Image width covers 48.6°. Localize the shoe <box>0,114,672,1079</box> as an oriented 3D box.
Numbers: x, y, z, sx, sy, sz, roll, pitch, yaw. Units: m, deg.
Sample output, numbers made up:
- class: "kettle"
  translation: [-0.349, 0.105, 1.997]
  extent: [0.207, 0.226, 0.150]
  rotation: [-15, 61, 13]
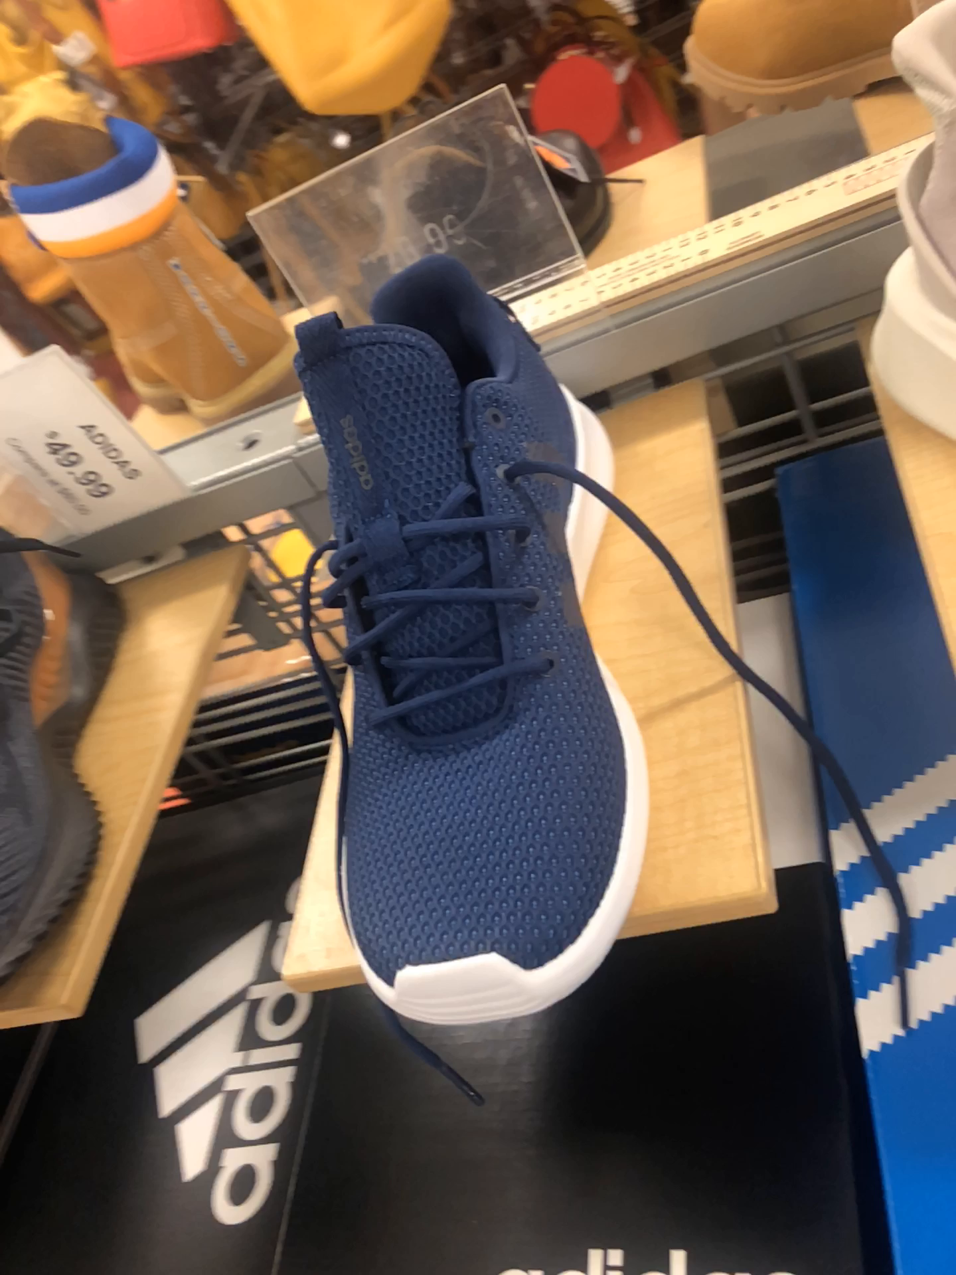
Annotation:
- class: "shoe"
  translation: [-0.014, -0.033, 0.369]
  extent: [0.112, 0.145, 0.305]
  rotation: [-16, 41, 23]
